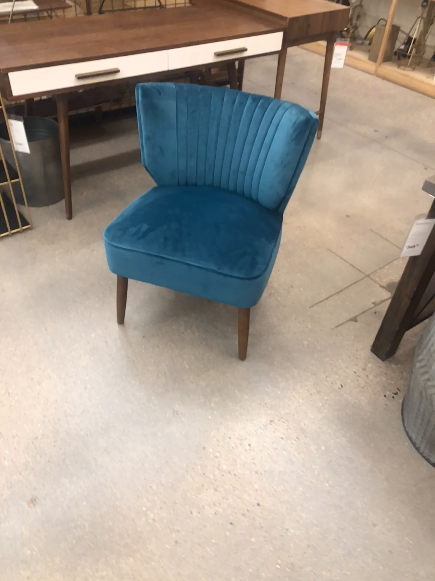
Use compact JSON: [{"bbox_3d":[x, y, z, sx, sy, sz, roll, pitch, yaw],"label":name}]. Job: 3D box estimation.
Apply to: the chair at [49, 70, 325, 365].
[{"bbox_3d":[-0.060,-0.286,1.700,0.660,0.677,0.663,14,43,12],"label":"chair"}]
